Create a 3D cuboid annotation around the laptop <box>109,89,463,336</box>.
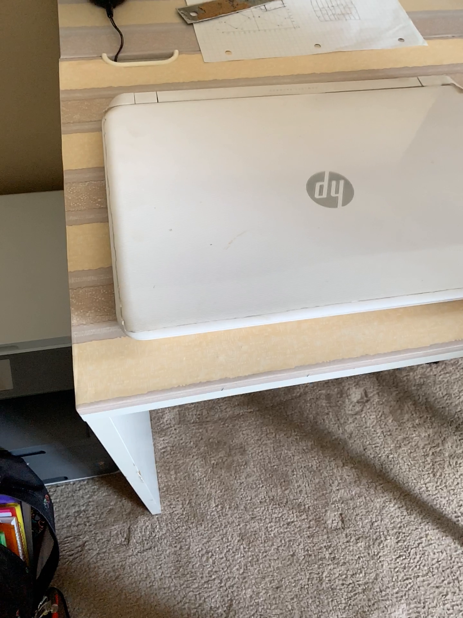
[{"bbox_3d":[0.083,-0.105,0.418,0.364,0.002,0.229,-7,62,-8],"label":"laptop"}]
